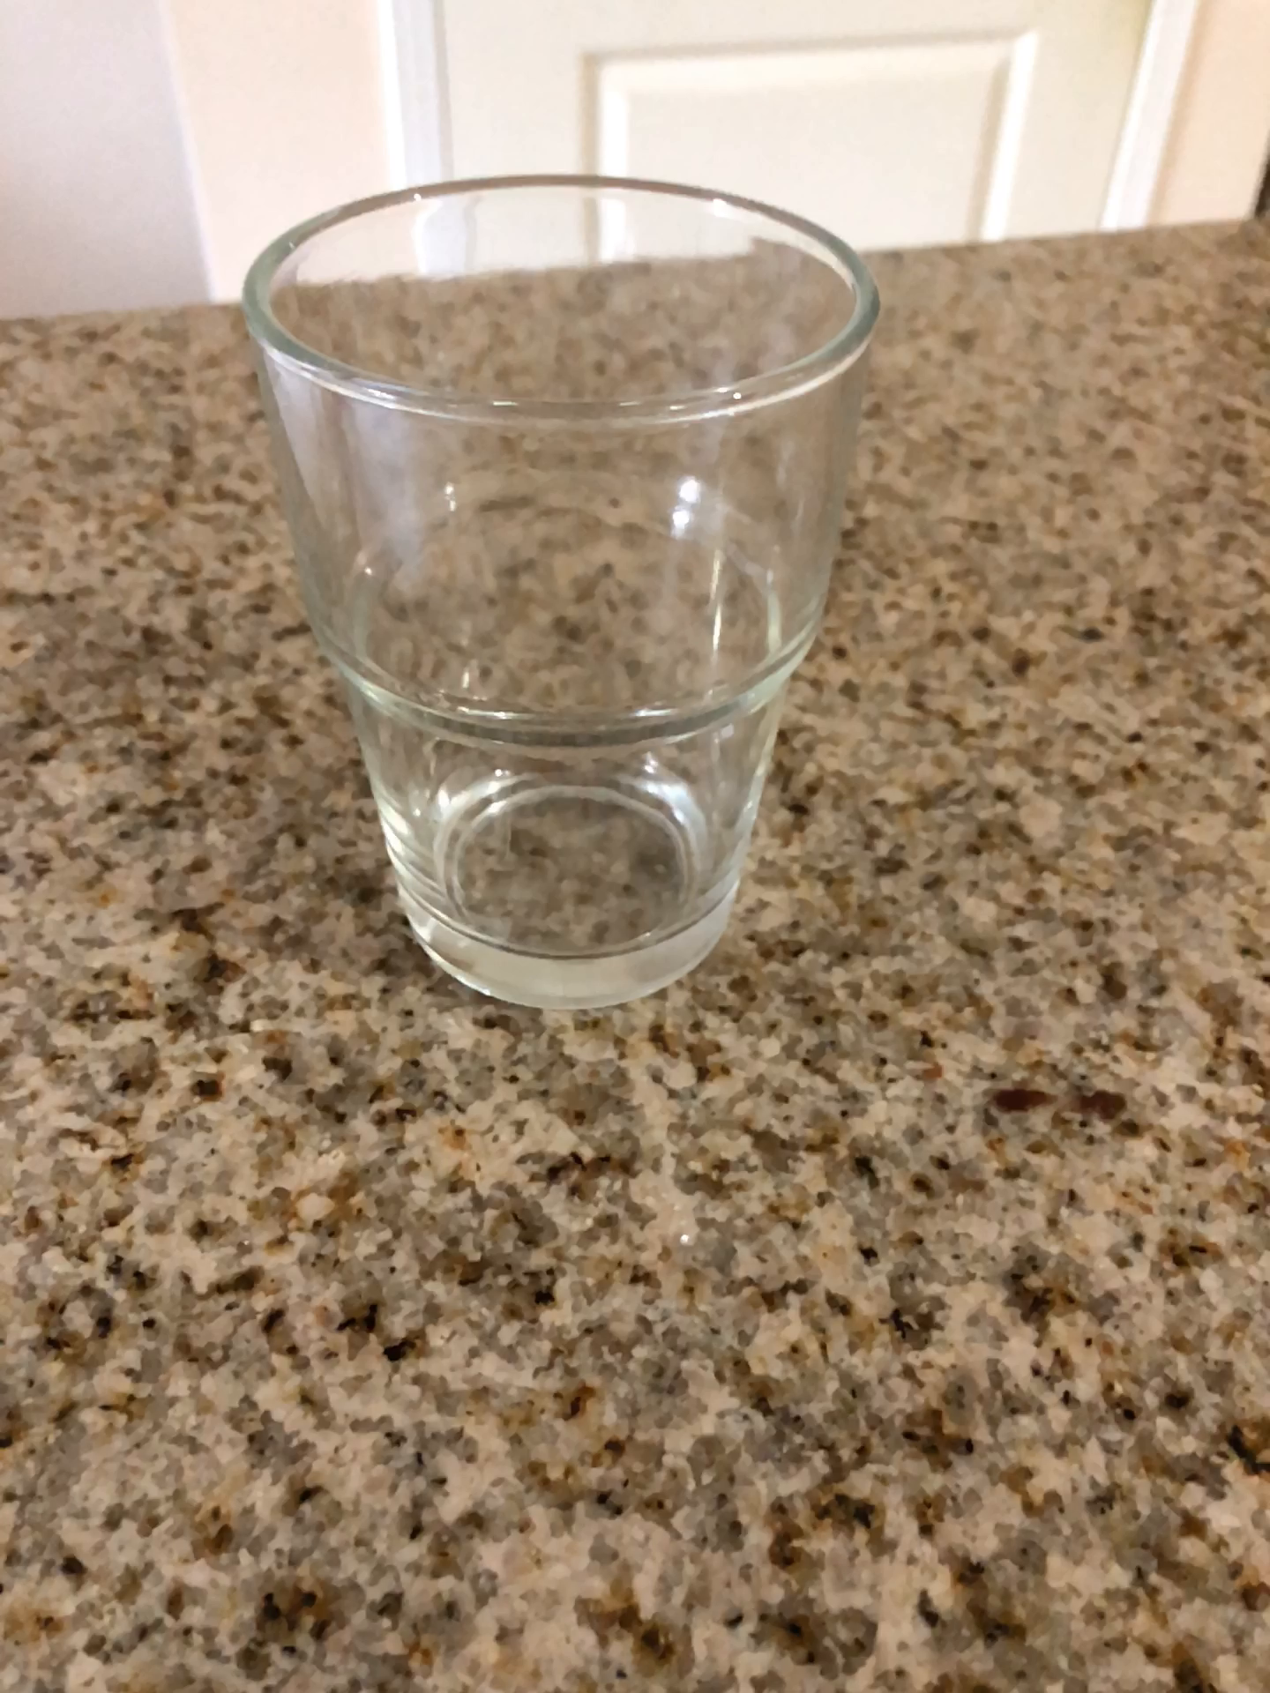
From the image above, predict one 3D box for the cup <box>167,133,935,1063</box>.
[{"bbox_3d":[-0.008,-0.038,0.211,0.070,0.099,0.070,1,41,-1],"label":"cup"}]
